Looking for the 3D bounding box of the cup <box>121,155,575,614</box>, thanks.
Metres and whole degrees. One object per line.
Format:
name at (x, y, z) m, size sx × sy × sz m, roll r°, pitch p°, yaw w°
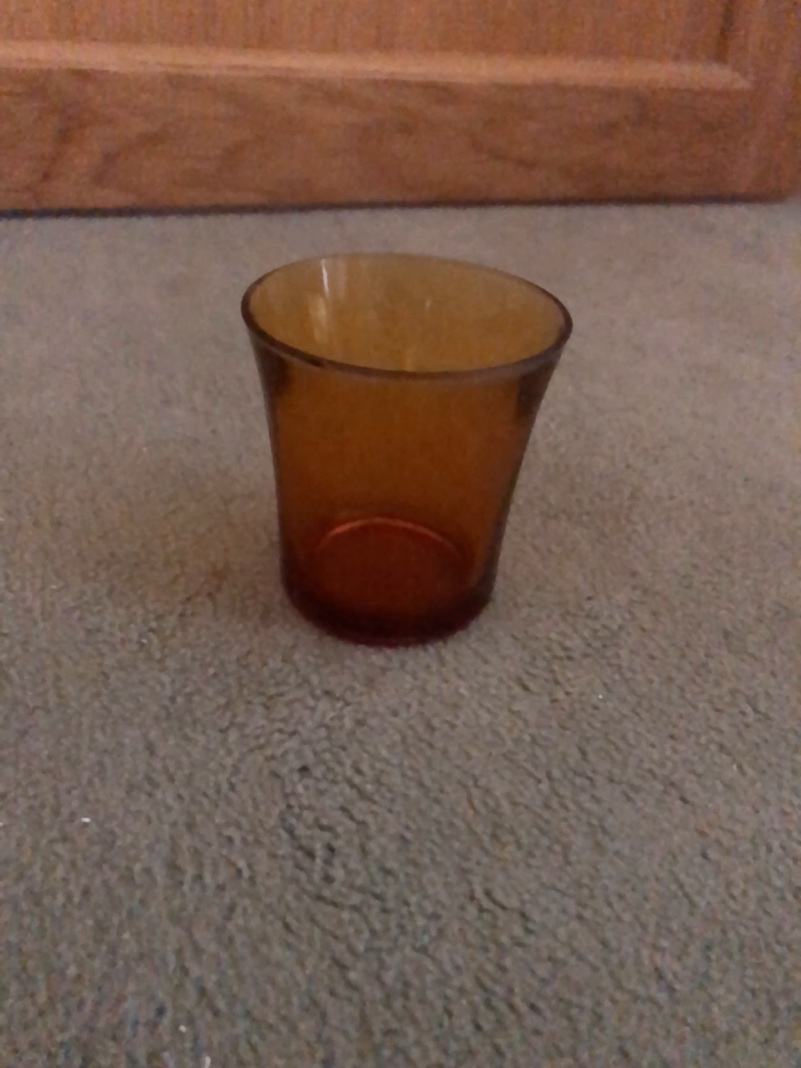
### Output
cup at (-0.016, -0.039, 0.206) m, size 0.070 × 0.070 × 0.070 m, roll 4°, pitch 37°, yaw -3°
